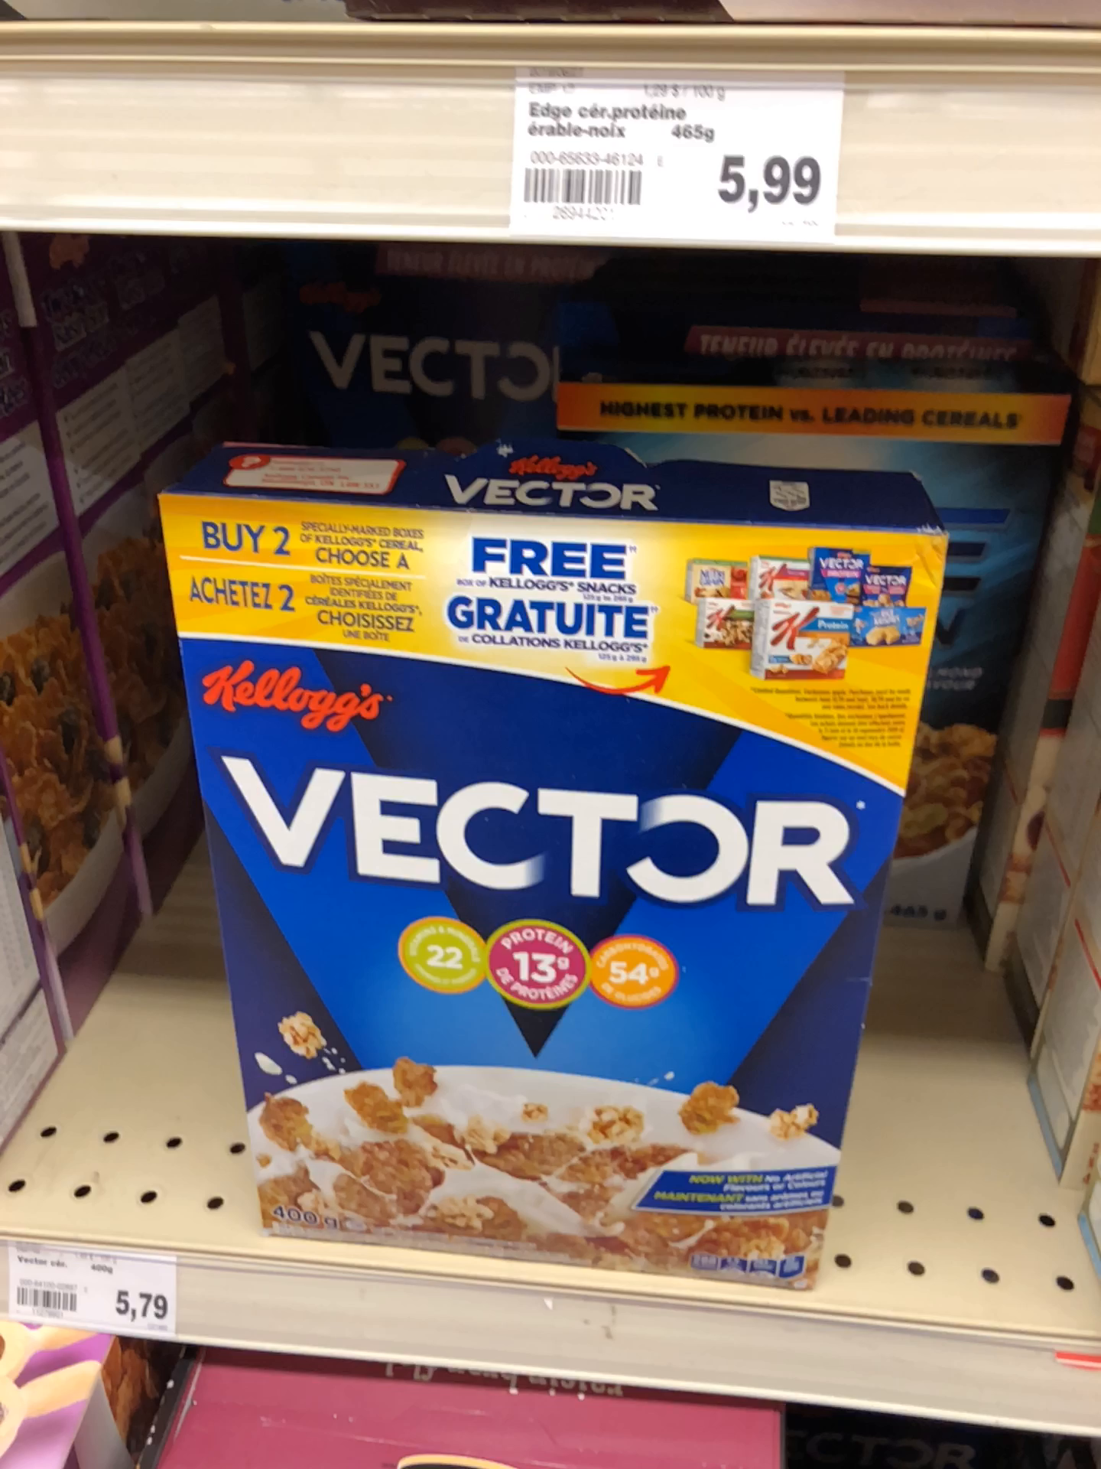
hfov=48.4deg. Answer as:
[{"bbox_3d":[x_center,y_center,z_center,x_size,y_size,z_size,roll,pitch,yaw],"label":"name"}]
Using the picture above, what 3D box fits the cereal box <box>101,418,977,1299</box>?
[{"bbox_3d":[-0.004,0.050,0.372,0.200,0.268,0.060,4,31,5],"label":"cereal box"}]
